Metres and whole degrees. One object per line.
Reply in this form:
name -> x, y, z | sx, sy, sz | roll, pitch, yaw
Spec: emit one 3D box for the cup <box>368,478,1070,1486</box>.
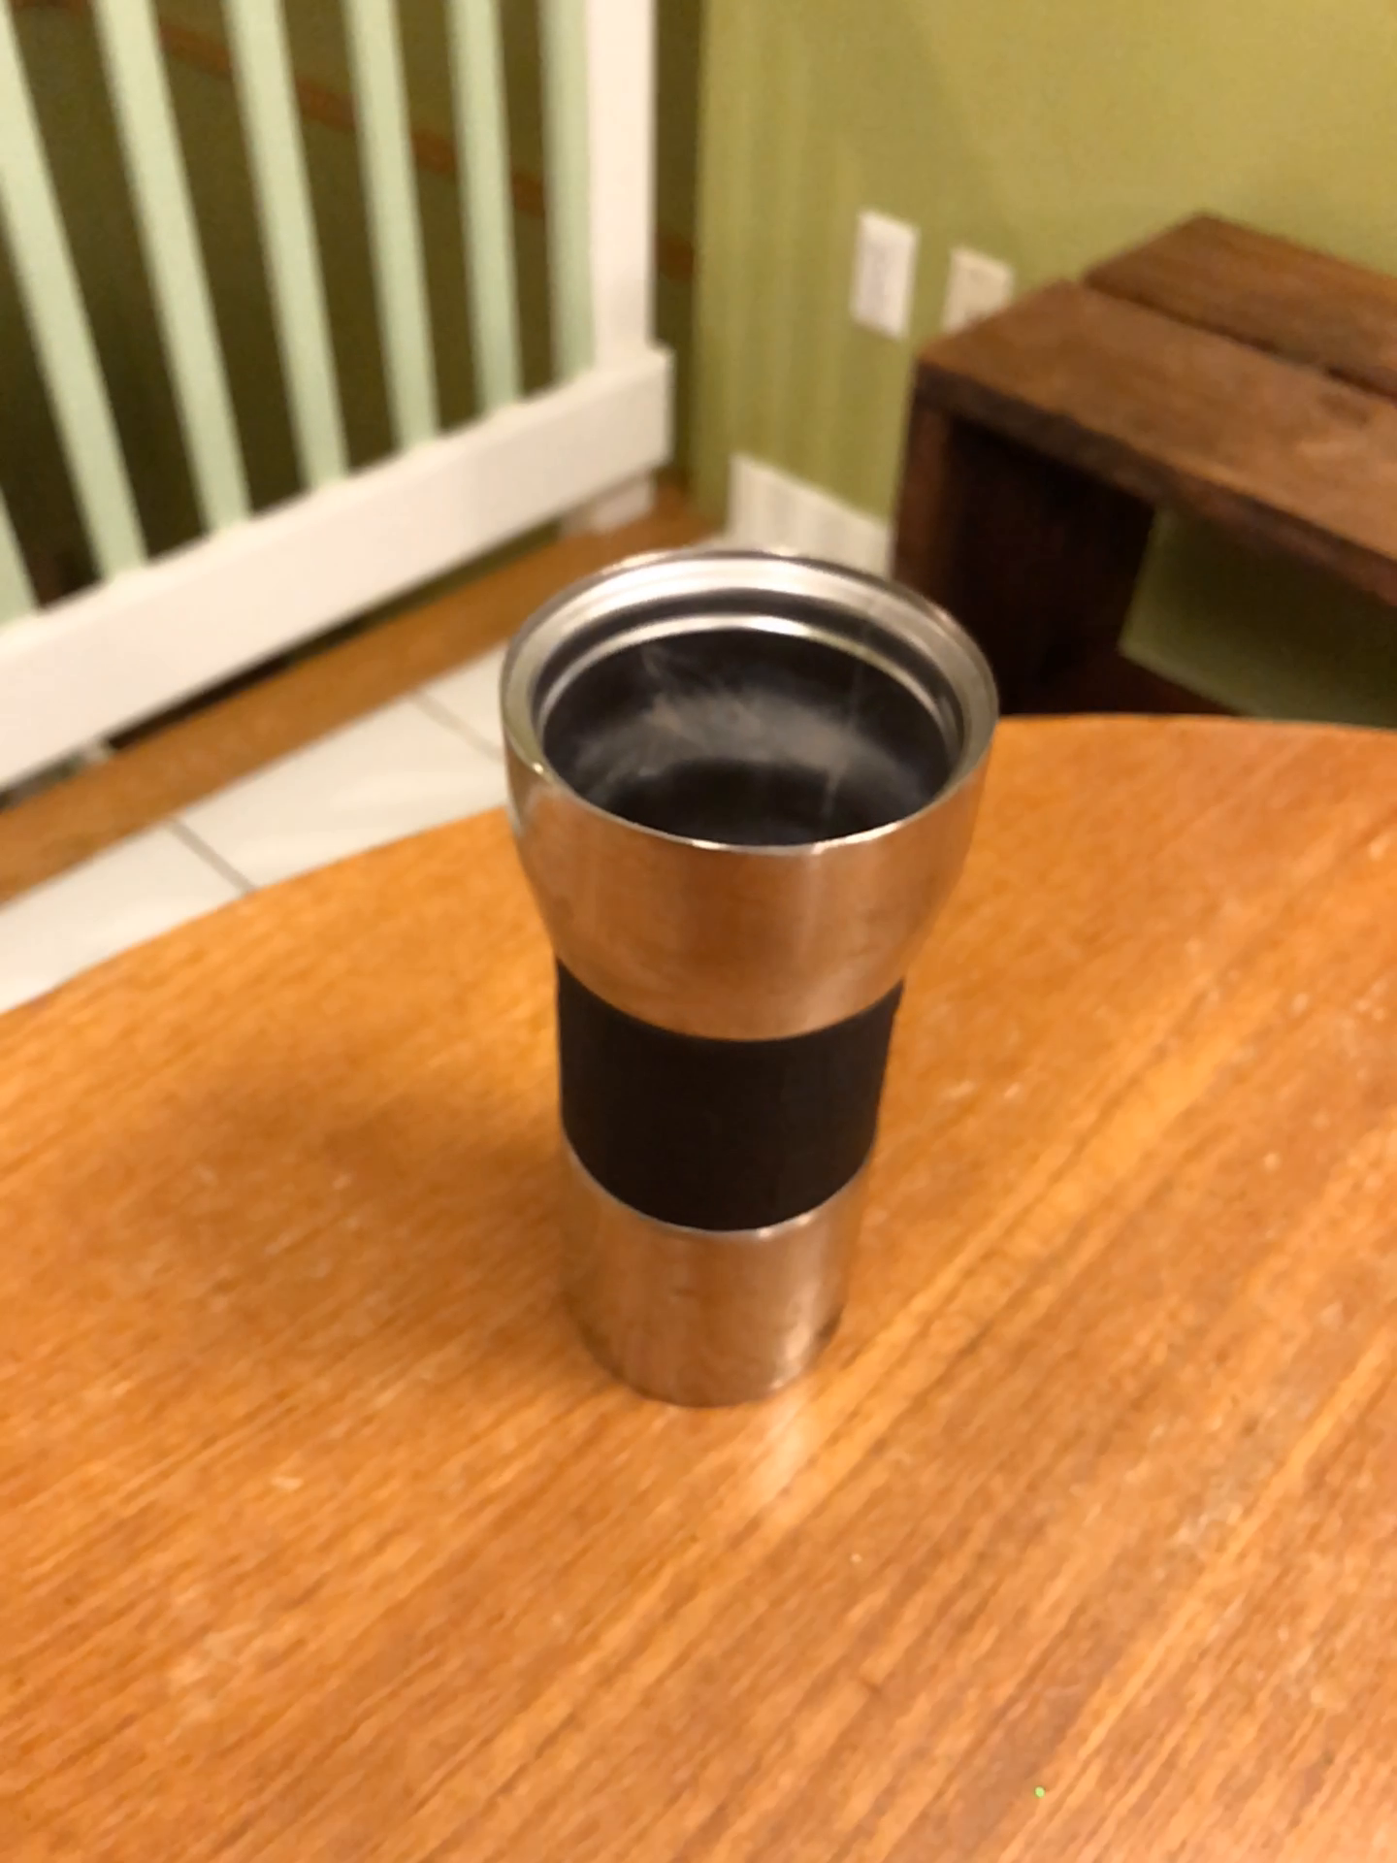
cup -> 0.003, 0.017, 0.320 | 0.083, 0.173, 0.088 | 1, 45, -1
